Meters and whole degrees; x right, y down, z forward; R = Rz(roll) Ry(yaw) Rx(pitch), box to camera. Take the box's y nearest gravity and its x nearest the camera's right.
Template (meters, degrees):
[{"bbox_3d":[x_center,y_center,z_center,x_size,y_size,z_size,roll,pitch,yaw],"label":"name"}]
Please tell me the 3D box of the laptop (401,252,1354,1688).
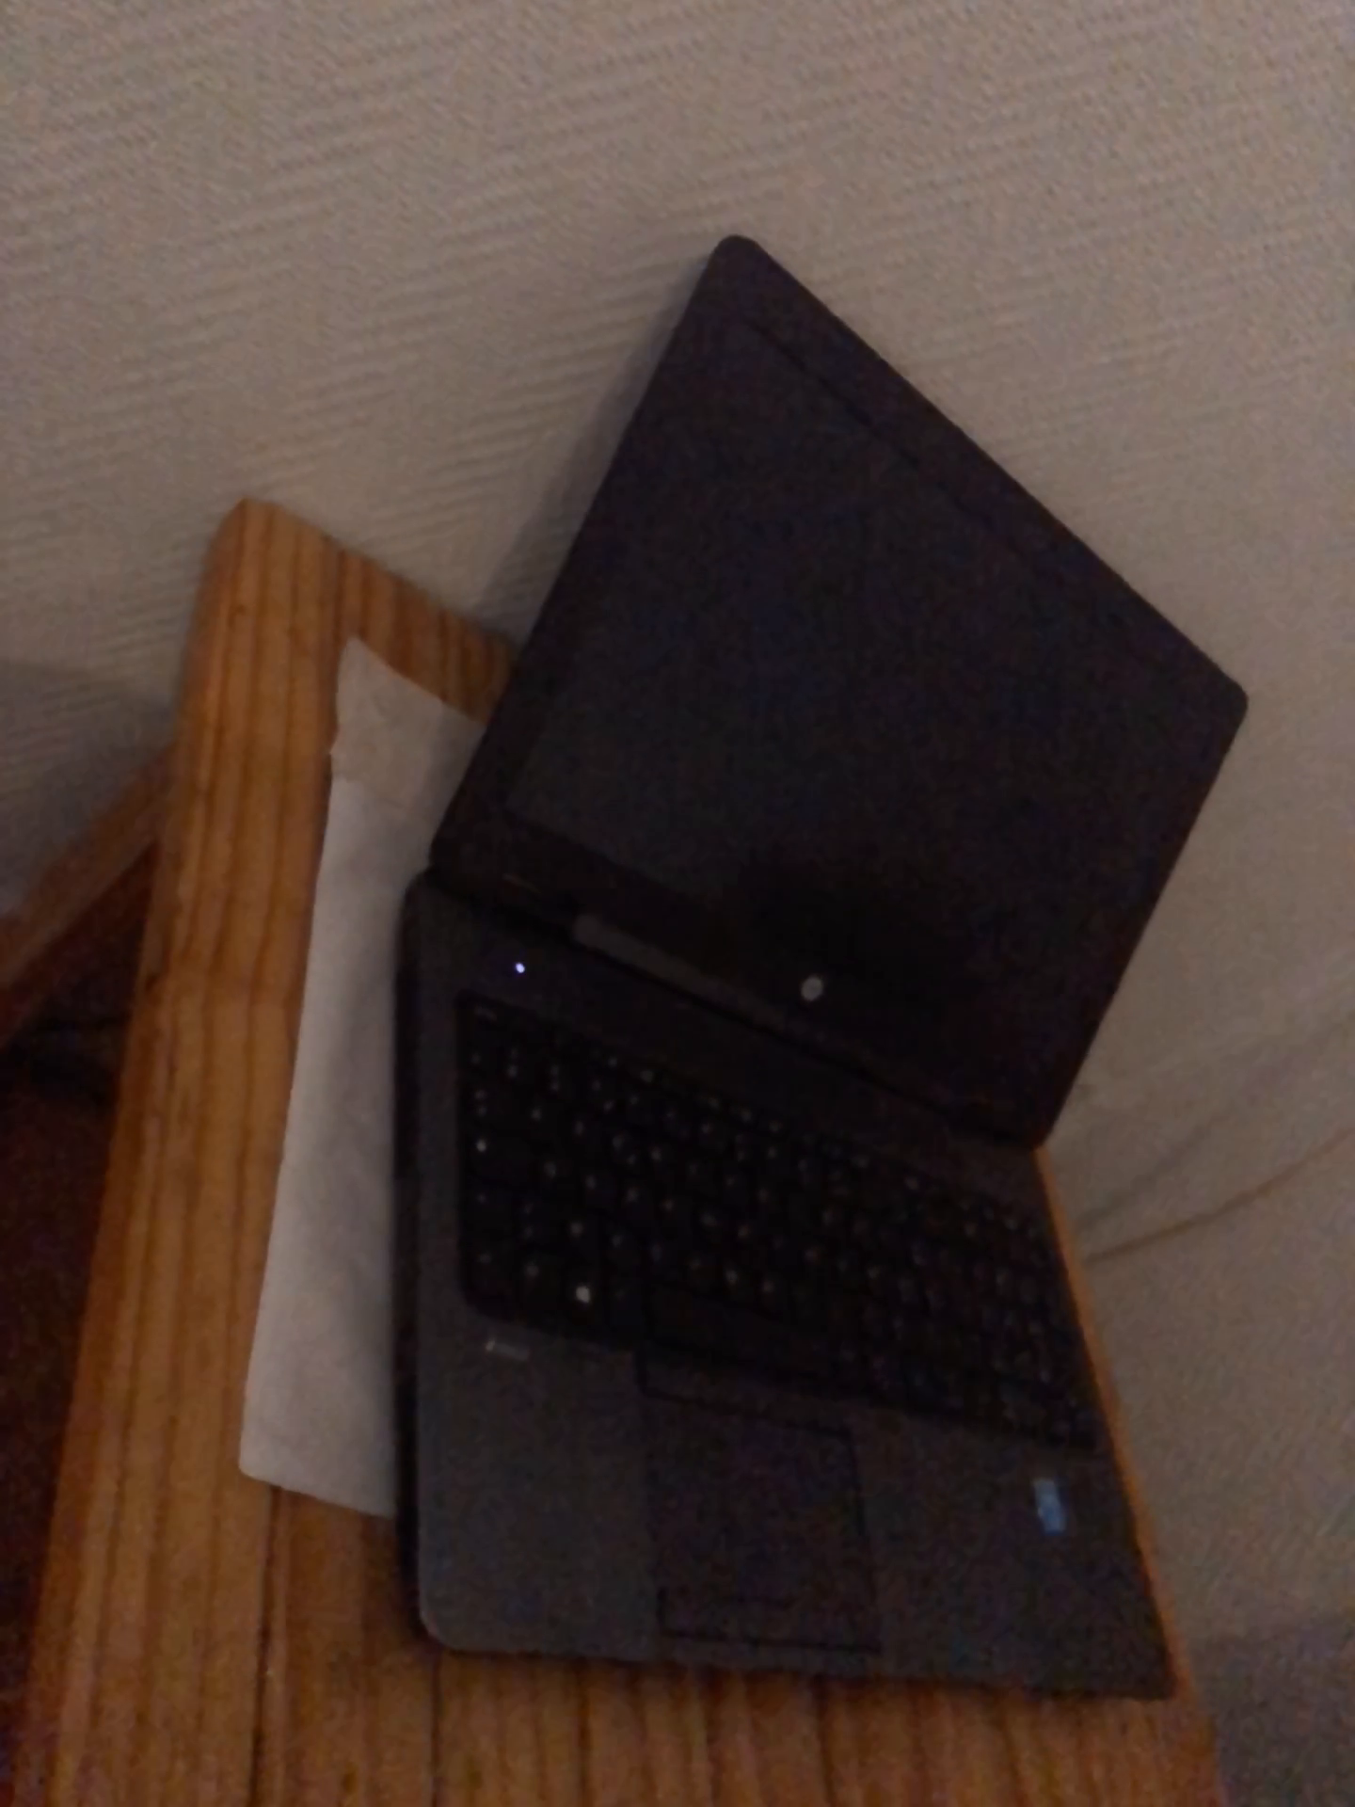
[{"bbox_3d":[0.110,0.047,0.583,0.383,0.195,0.410,27,41,-38],"label":"laptop"}]
